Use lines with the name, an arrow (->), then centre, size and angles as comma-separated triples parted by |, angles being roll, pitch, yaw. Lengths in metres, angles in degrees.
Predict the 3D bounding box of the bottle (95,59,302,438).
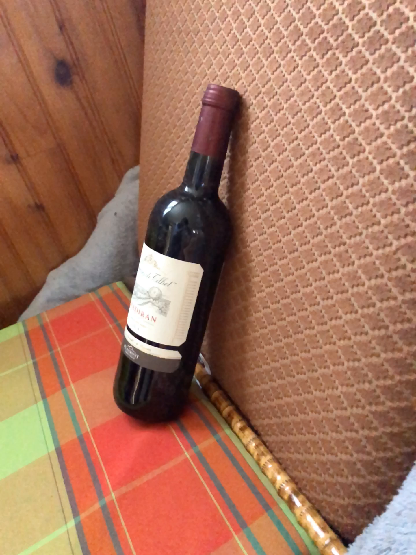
bottle -> -0.018, -0.018, 0.405 | 0.090, 0.299, 0.080 | -2, 23, -40
